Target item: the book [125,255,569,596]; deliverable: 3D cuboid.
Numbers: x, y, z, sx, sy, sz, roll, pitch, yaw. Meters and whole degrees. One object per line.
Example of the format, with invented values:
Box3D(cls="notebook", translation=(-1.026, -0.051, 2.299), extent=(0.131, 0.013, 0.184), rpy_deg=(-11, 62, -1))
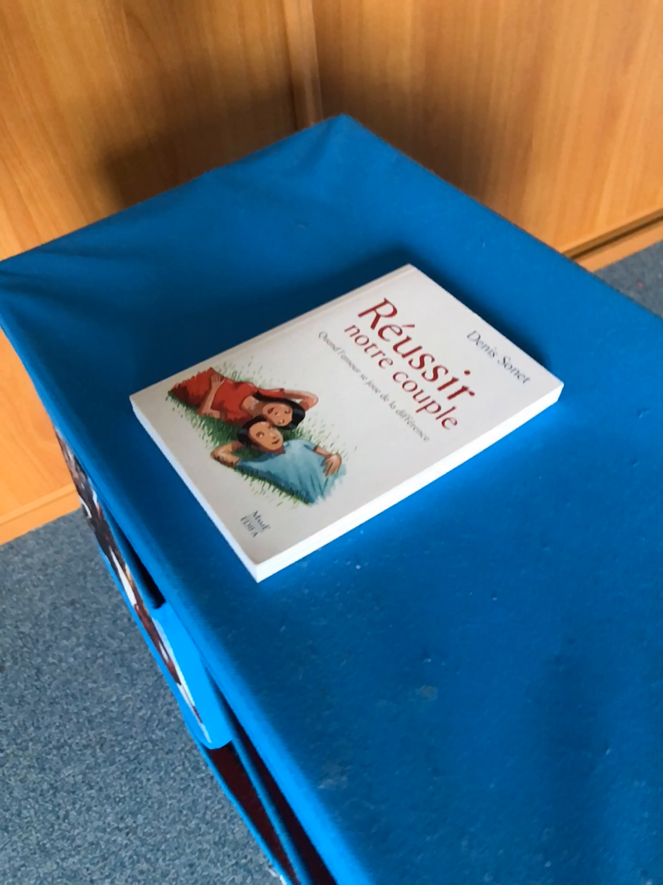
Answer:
Box3D(cls="book", translation=(0.007, -0.023, 0.384), extent=(0.186, 0.016, 0.135), rpy_deg=(-30, 56, -19))
